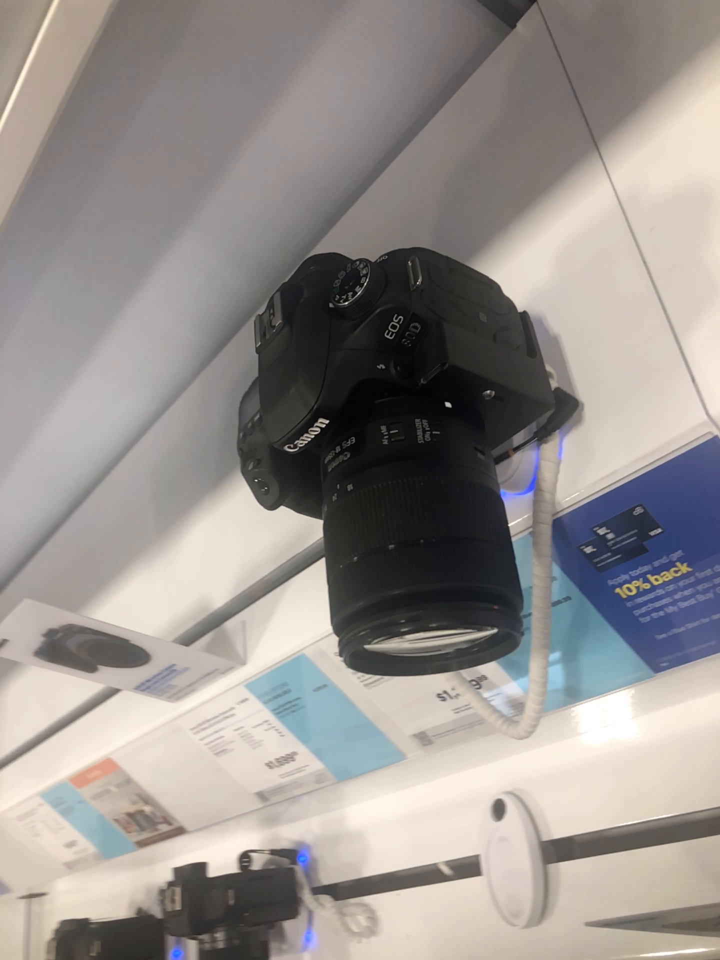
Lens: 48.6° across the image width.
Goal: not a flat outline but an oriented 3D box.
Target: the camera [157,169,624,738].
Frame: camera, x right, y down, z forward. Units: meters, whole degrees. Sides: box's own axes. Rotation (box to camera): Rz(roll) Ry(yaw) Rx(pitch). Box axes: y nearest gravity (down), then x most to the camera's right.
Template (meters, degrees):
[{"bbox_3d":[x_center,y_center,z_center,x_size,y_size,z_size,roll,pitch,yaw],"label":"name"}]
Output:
[{"bbox_3d":[-0.005,0.002,0.349,0.151,0.110,0.180,-37,50,41],"label":"camera"}]
